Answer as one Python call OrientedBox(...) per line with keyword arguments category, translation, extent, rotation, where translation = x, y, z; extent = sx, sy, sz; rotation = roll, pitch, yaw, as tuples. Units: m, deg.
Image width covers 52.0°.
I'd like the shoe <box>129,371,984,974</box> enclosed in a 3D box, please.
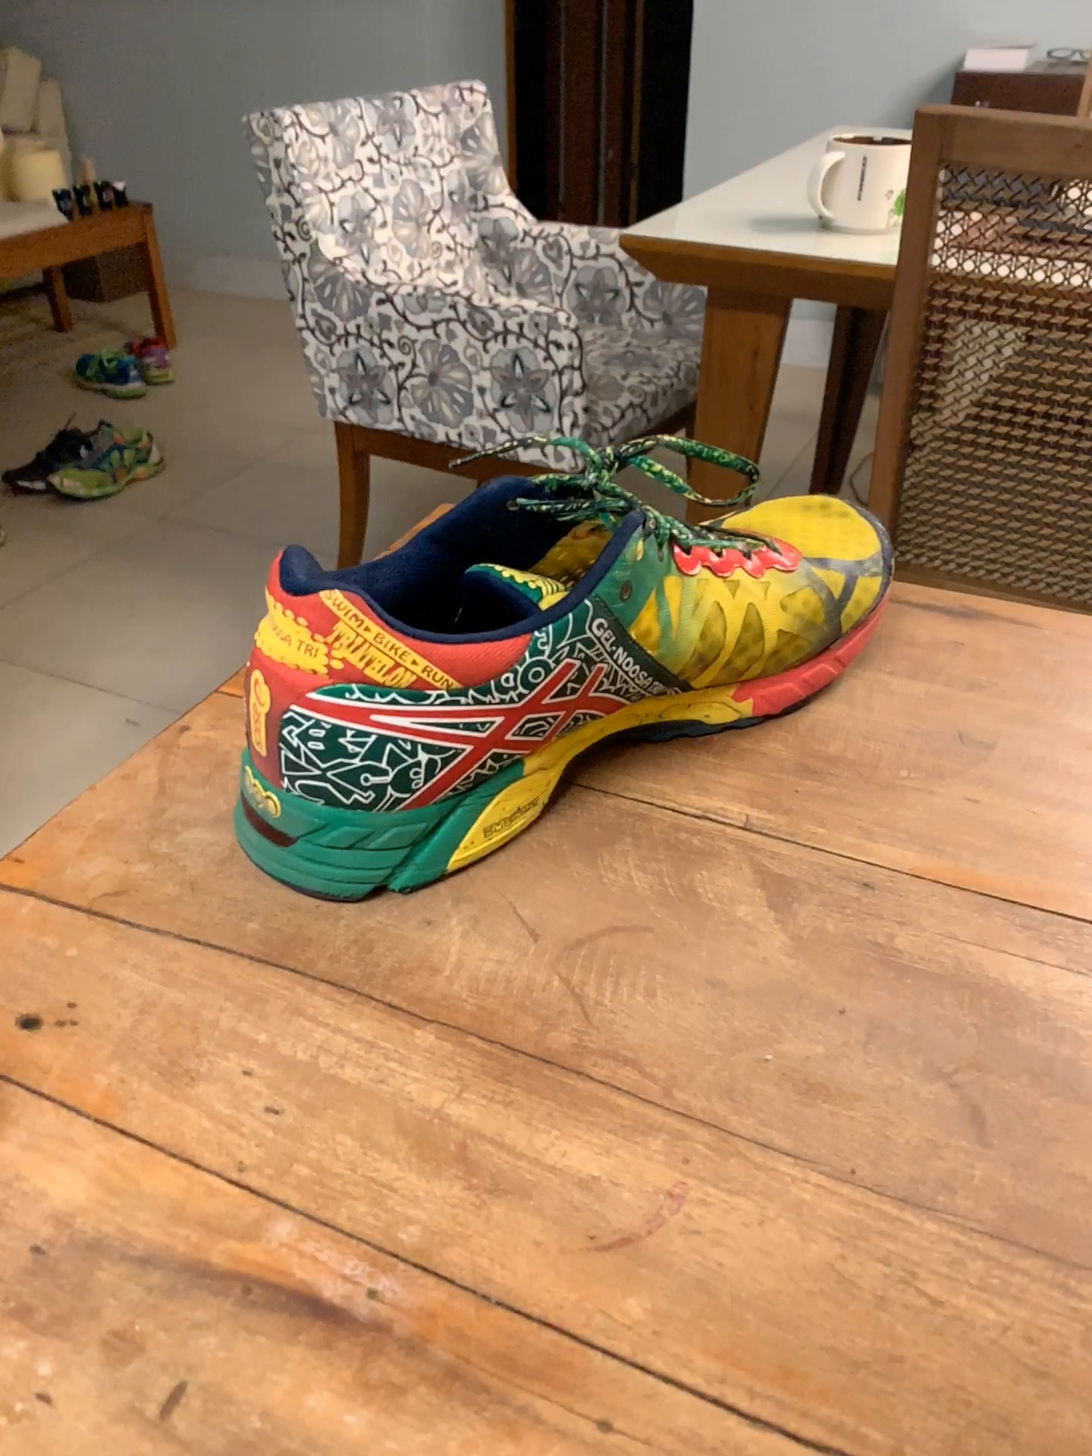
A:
OrientedBox(category="shoe", translation=(0.017, -0.043, 0.427), extent=(0.295, 0.102, 0.114), rotation=(-23, 41, -29))
